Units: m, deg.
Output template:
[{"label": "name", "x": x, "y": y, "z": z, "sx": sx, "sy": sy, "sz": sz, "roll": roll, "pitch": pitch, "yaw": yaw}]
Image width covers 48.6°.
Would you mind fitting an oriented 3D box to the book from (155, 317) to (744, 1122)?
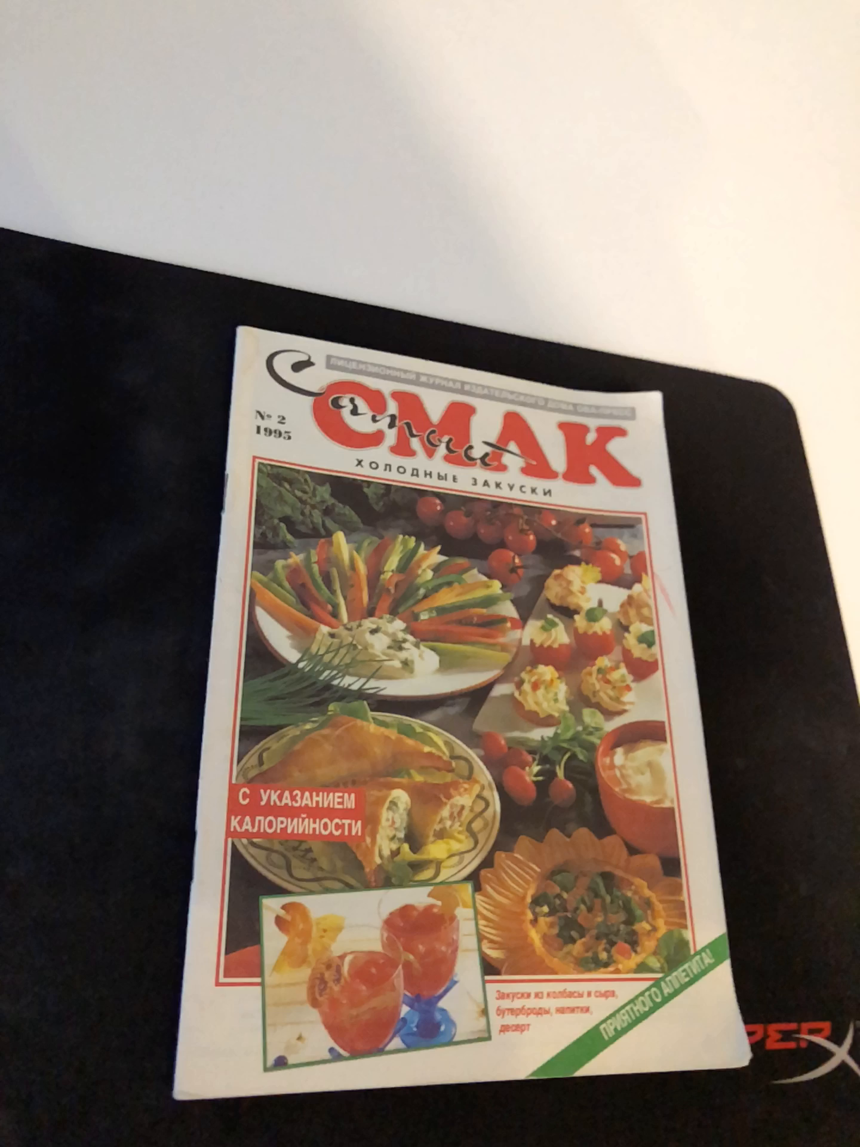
[{"label": "book", "x": 0.009, "y": 0.032, "z": 0.296, "sx": 0.160, "sy": 0.010, "sz": 0.231, "roll": 6, "pitch": 65, "yaw": -18}]
